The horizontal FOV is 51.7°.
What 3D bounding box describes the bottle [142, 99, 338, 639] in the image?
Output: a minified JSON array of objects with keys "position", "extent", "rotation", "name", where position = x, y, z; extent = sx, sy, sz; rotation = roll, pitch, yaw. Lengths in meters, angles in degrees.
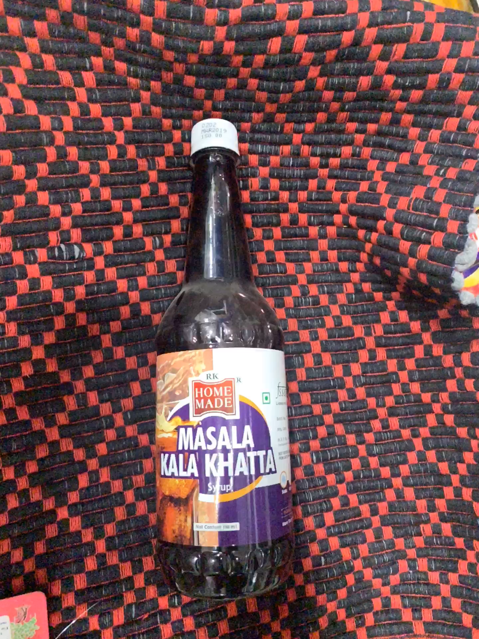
[{"position":[-0.009,0.016,0.281],"extent":[0.080,0.080,0.260],"rotation":[-2,77,-8],"name":"bottle"}]
